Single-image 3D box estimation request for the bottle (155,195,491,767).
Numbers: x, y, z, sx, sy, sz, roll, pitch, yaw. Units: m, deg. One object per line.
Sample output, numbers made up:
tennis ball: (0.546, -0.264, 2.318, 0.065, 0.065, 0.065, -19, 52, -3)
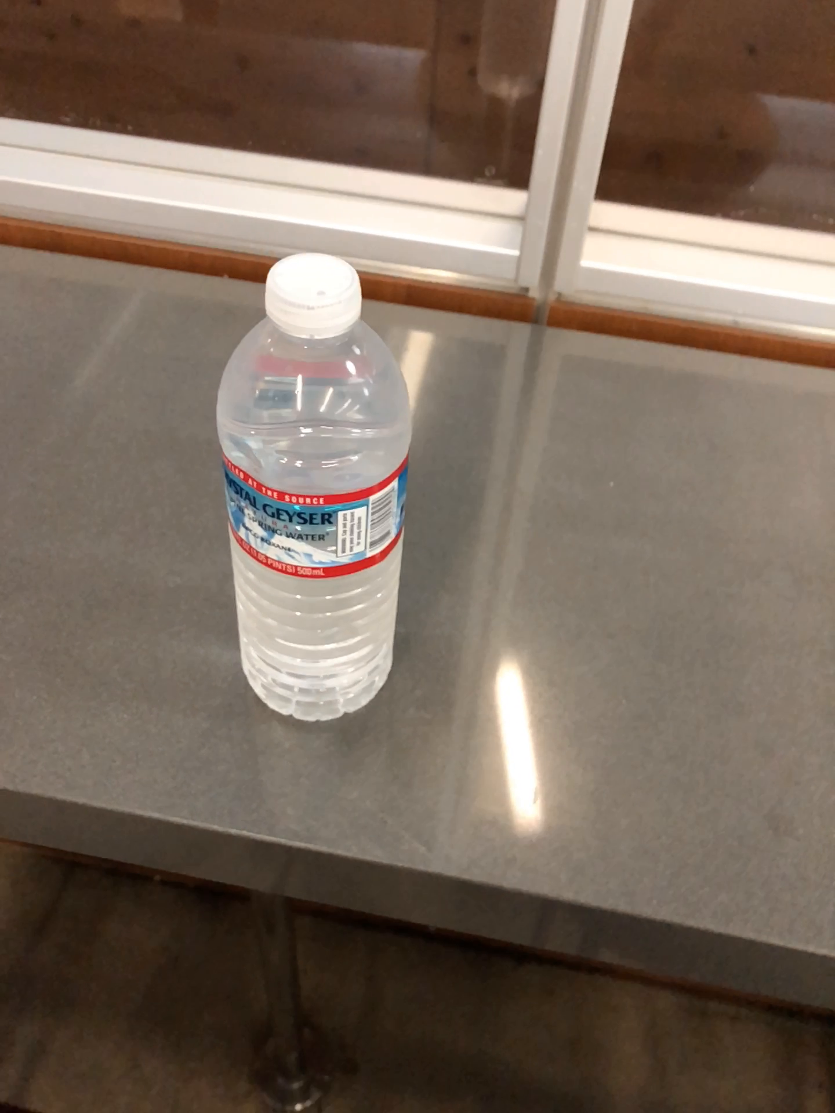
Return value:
bottle: (-0.031, -0.017, 0.337, 0.070, 0.189, 0.070, 2, 45, -2)
